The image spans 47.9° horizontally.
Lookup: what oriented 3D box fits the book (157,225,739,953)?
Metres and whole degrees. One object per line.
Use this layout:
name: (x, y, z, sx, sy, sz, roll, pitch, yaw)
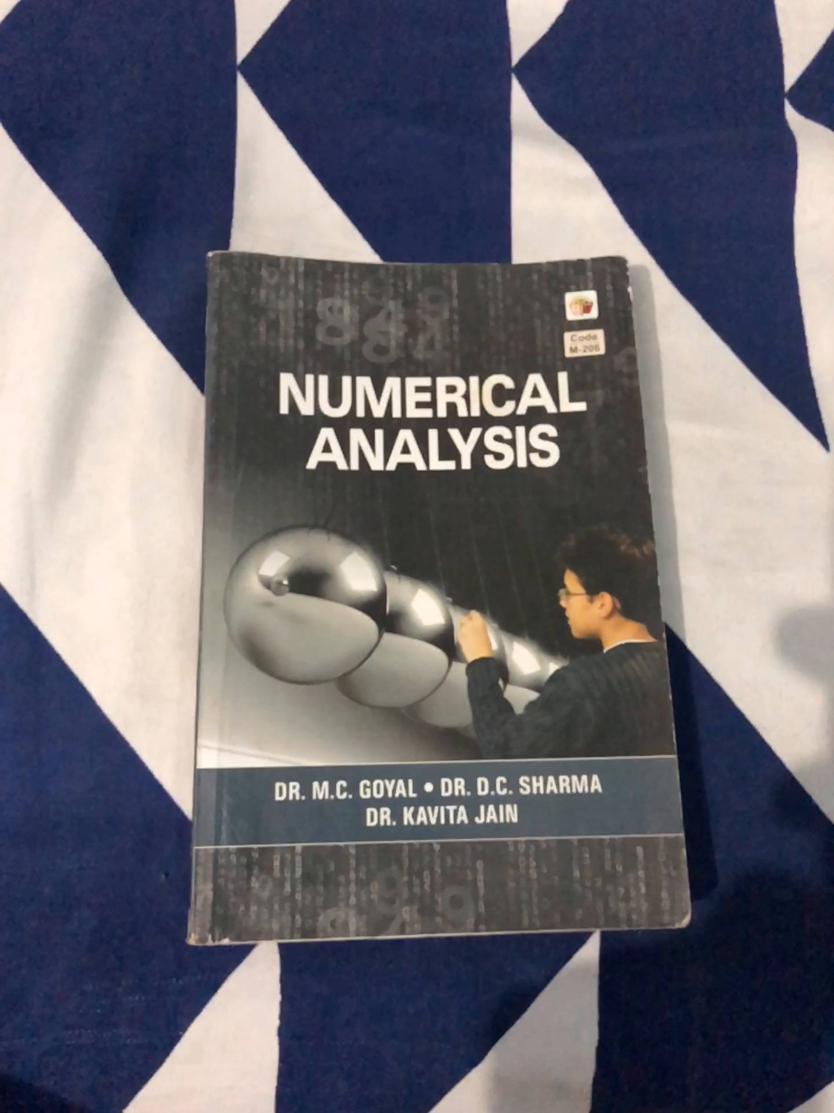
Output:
book: (0.005, 0.003, 0.260, 0.140, 0.030, 0.190, -1, 77, -4)
